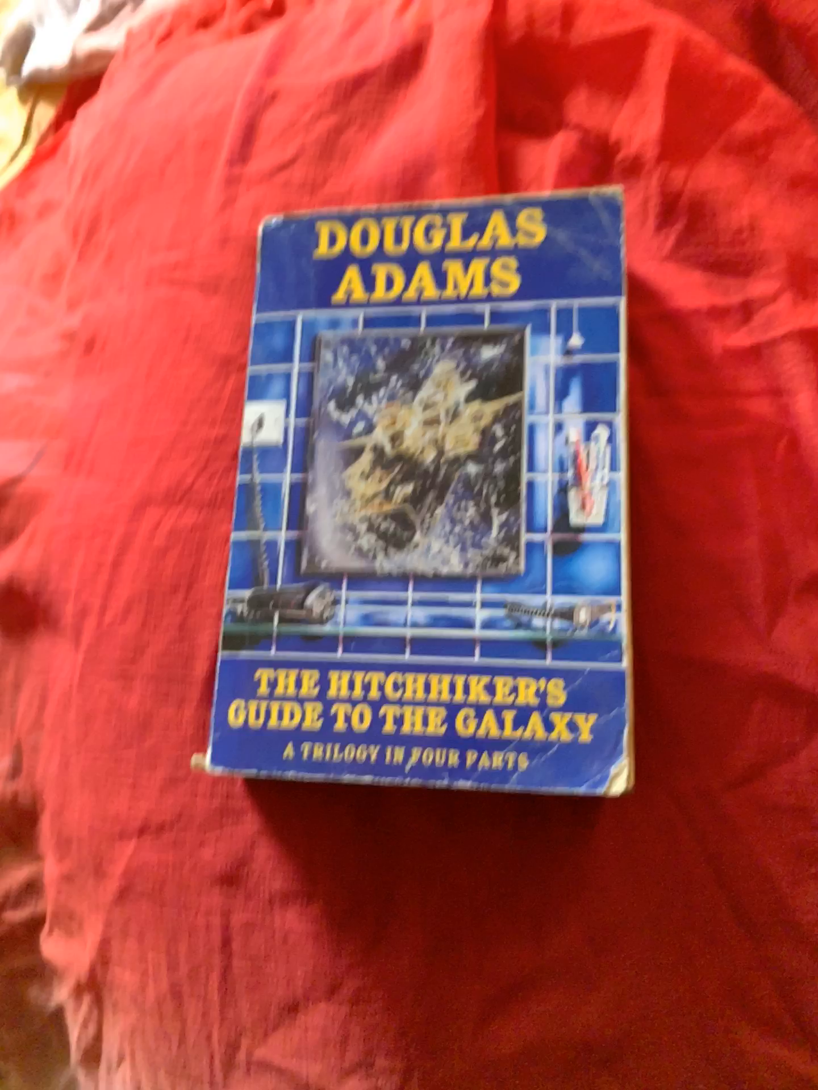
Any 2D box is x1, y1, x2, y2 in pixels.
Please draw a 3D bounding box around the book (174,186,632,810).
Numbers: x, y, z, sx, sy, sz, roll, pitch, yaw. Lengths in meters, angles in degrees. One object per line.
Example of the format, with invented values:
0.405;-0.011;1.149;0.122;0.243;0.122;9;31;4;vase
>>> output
0.005;-0.017;0.281;0.130;0.045;0.187;1;77;12;book
